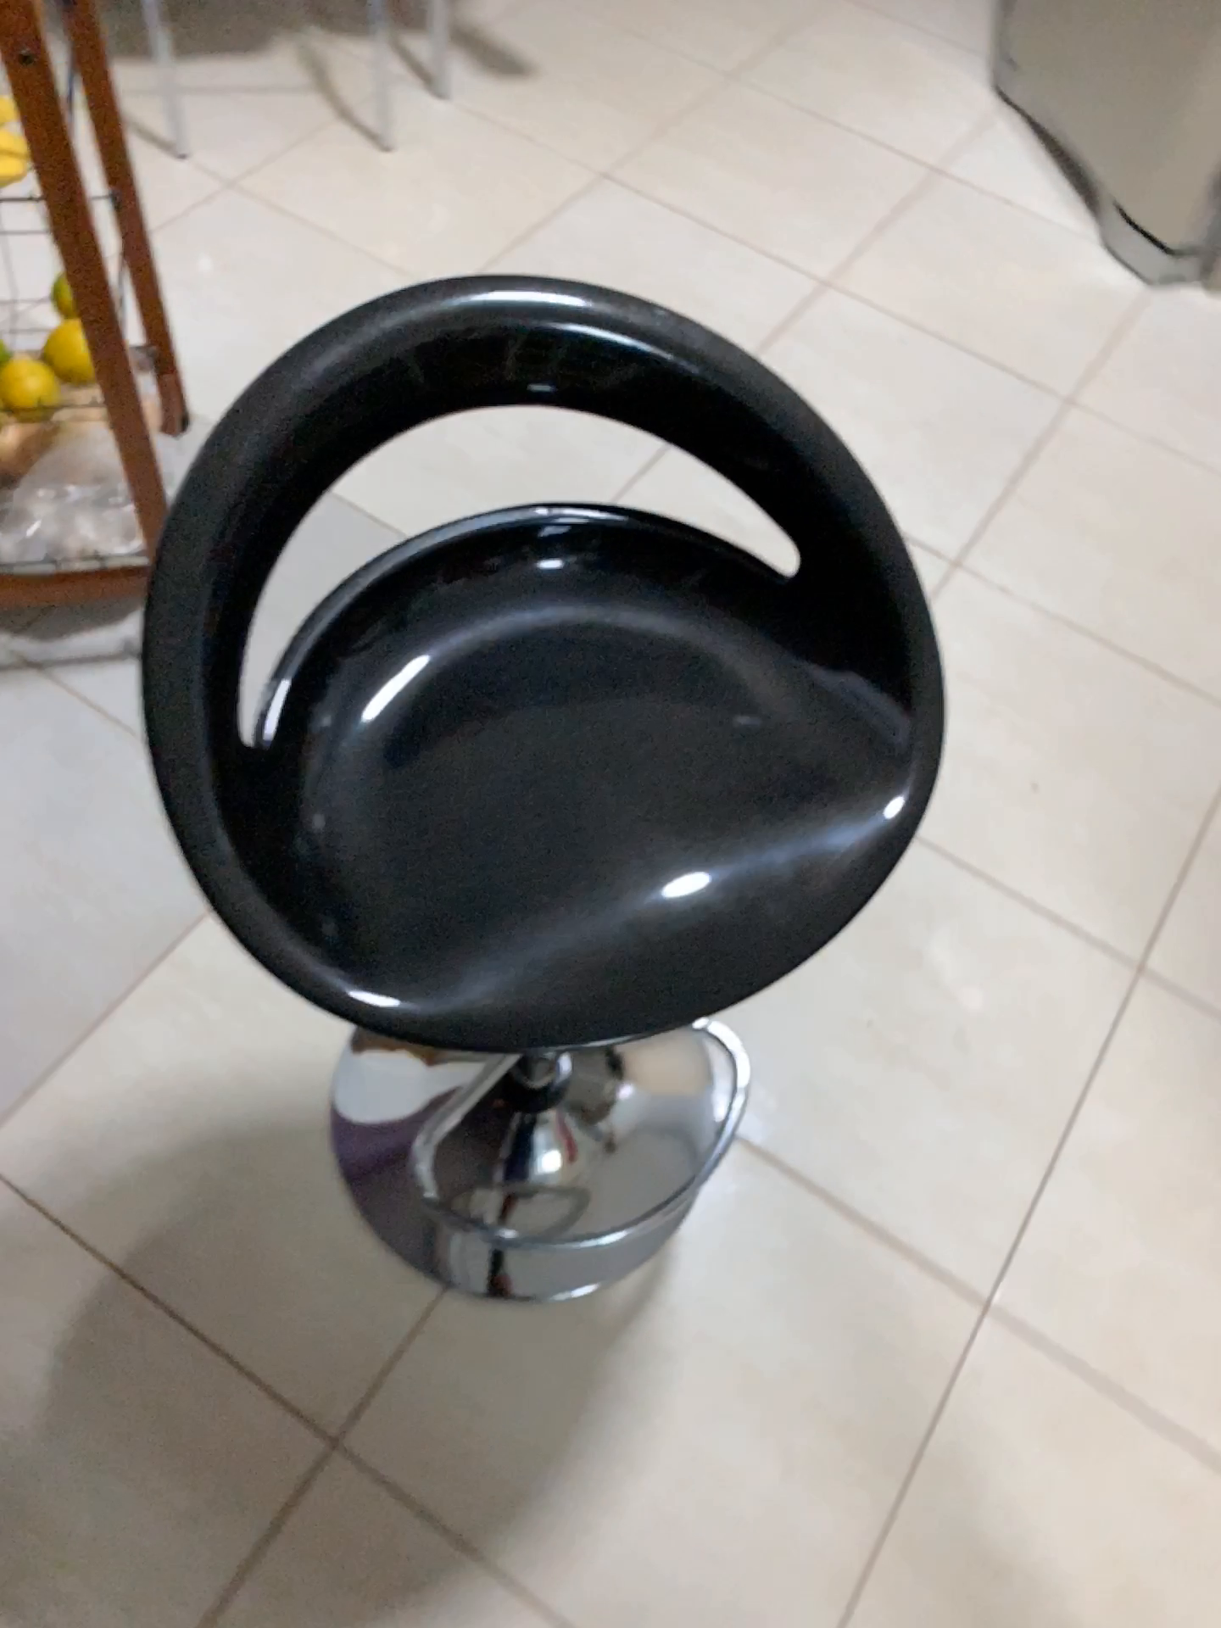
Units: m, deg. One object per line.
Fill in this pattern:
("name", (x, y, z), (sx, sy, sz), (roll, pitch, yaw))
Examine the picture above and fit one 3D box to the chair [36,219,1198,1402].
("chair", (-0.057, 0.079, 0.970), (0.452, 0.814, 0.445), (-16, 61, -16))
